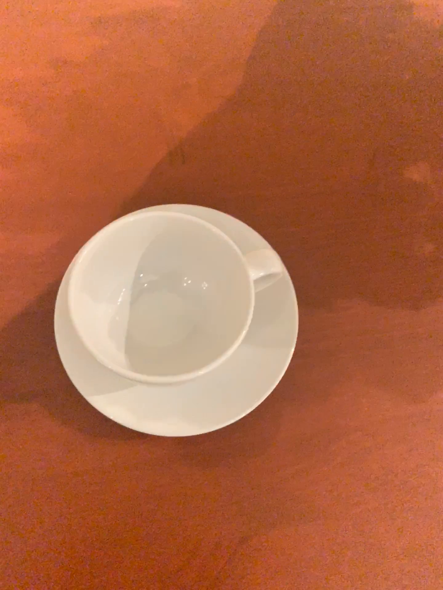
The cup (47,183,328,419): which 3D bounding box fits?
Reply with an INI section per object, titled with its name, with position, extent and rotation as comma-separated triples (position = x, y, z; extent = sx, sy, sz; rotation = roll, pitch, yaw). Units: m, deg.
[cup]
position = -0.018, 0.003, 0.236
extent = 0.110, 0.050, 0.080
rotation = -18, 73, -11
